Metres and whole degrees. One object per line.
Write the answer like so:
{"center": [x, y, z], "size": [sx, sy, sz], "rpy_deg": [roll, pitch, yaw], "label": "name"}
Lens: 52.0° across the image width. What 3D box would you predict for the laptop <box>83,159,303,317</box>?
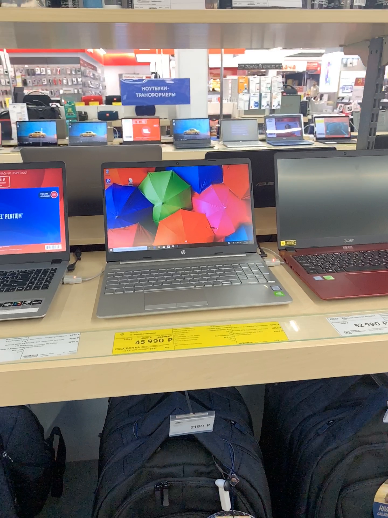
{"center": [-0.015, -0.073, 0.842], "size": [0.359, 0.209, 0.349], "rpy_deg": [-3, 23, -6], "label": "laptop"}
